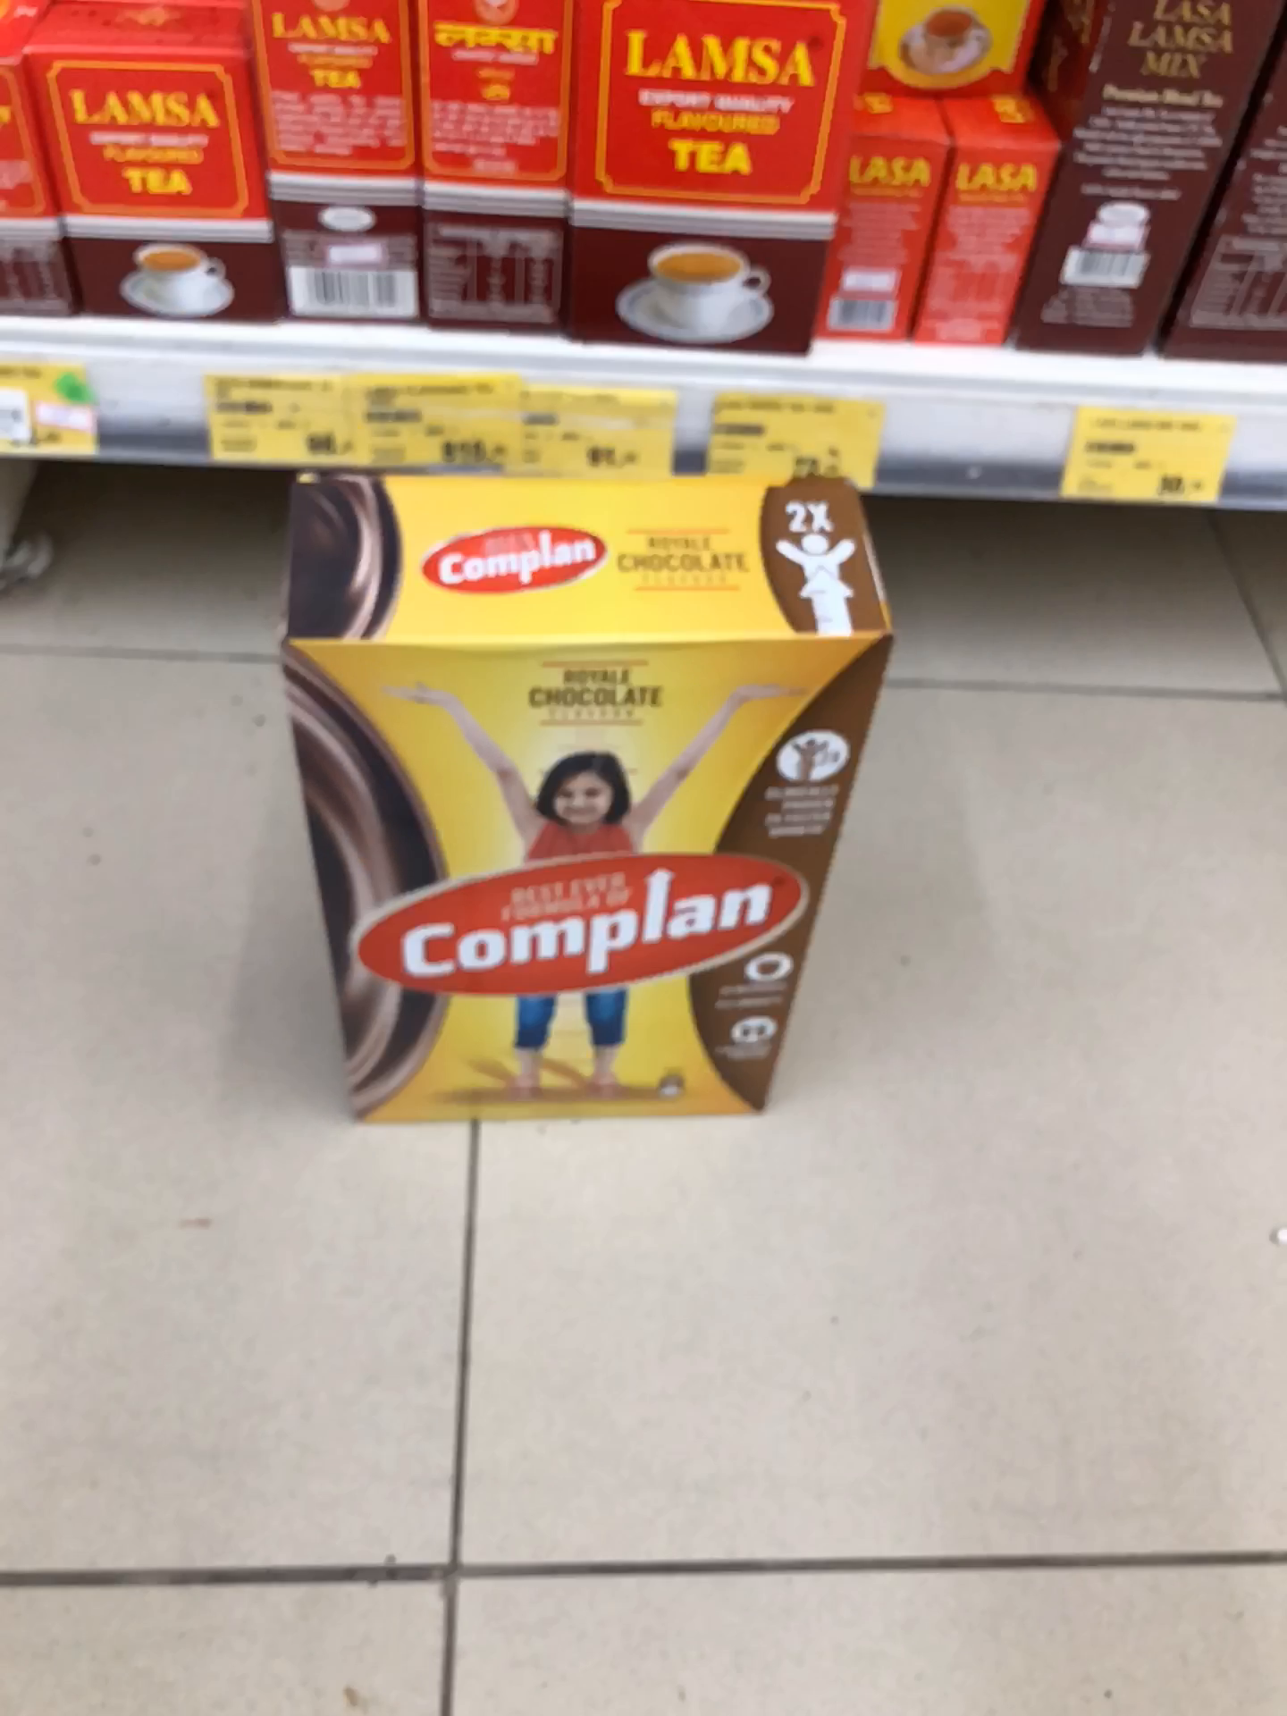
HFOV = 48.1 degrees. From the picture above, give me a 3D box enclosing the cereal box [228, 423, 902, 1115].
[{"bbox_3d":[-0.029,-0.010,0.462,0.160,0.249,0.070,0,52,-6],"label":"cereal box"}]
